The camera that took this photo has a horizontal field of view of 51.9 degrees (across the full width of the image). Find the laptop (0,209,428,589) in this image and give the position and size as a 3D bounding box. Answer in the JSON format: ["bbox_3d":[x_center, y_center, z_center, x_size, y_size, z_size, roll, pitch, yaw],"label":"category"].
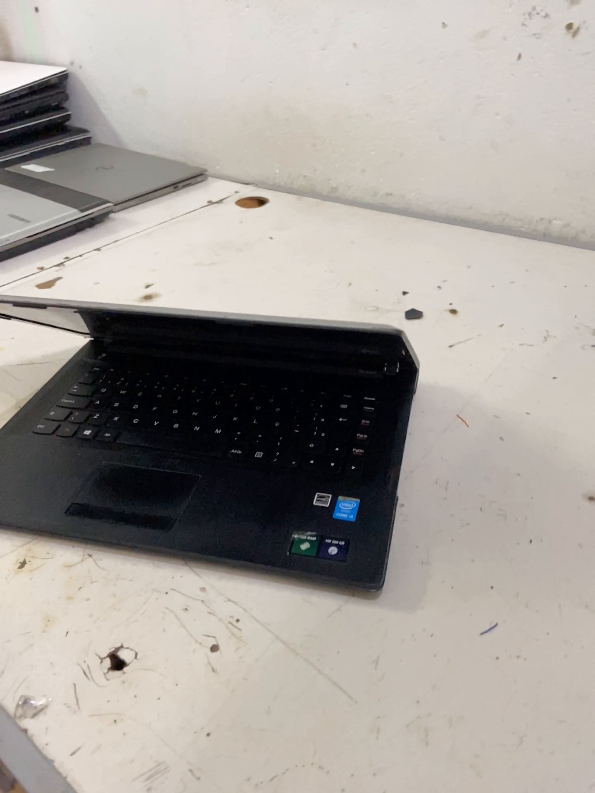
[{"bbox_3d":[-0.088,-0.027,0.481,0.344,0.148,0.246,6,37,14],"label":"laptop"}]
